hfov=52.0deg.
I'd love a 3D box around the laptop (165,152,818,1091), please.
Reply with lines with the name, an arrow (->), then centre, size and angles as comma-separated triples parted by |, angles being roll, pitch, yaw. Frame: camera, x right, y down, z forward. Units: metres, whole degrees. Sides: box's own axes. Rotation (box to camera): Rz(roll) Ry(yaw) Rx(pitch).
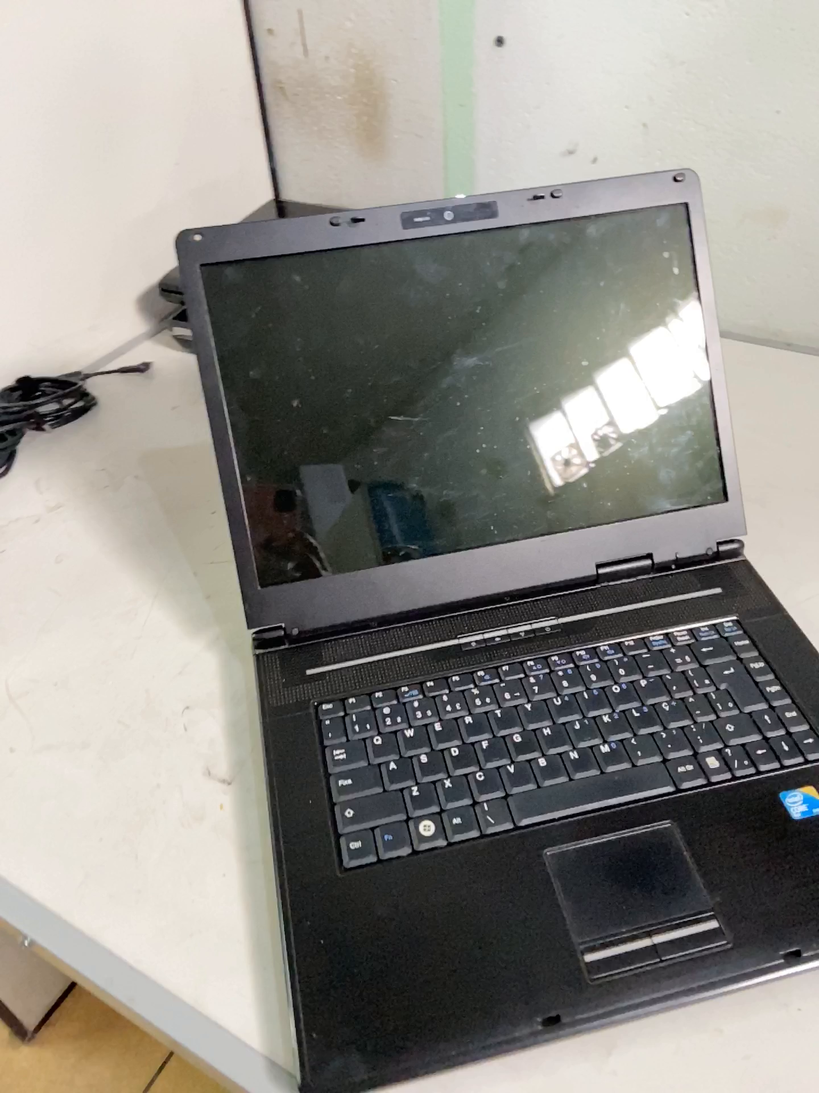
laptop -> 0.067, -0.014, 0.481 | 0.351, 0.224, 0.432 | -10, 44, -7
